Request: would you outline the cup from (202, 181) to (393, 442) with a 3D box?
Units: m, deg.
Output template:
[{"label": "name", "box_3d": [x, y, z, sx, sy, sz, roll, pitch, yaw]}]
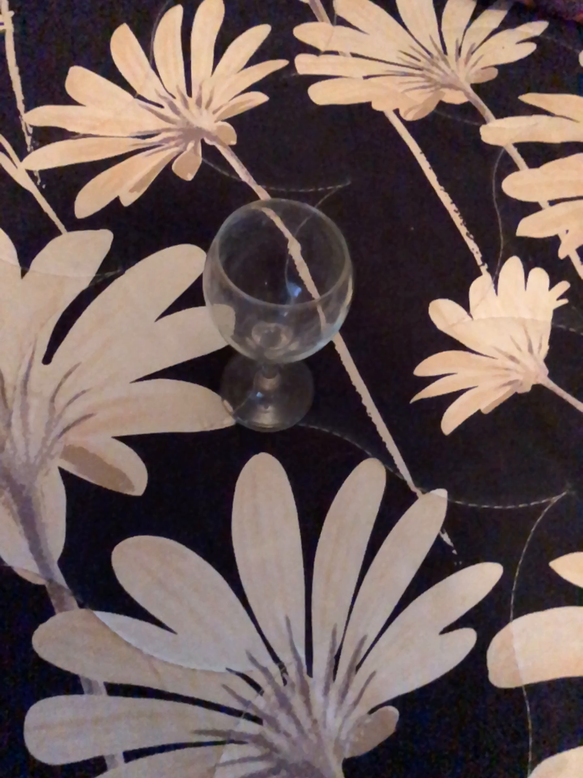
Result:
[{"label": "cup", "box_3d": [-0.005, -0.034, 0.361, 0.084, 0.139, 0.082, 2, 64, -5]}]
